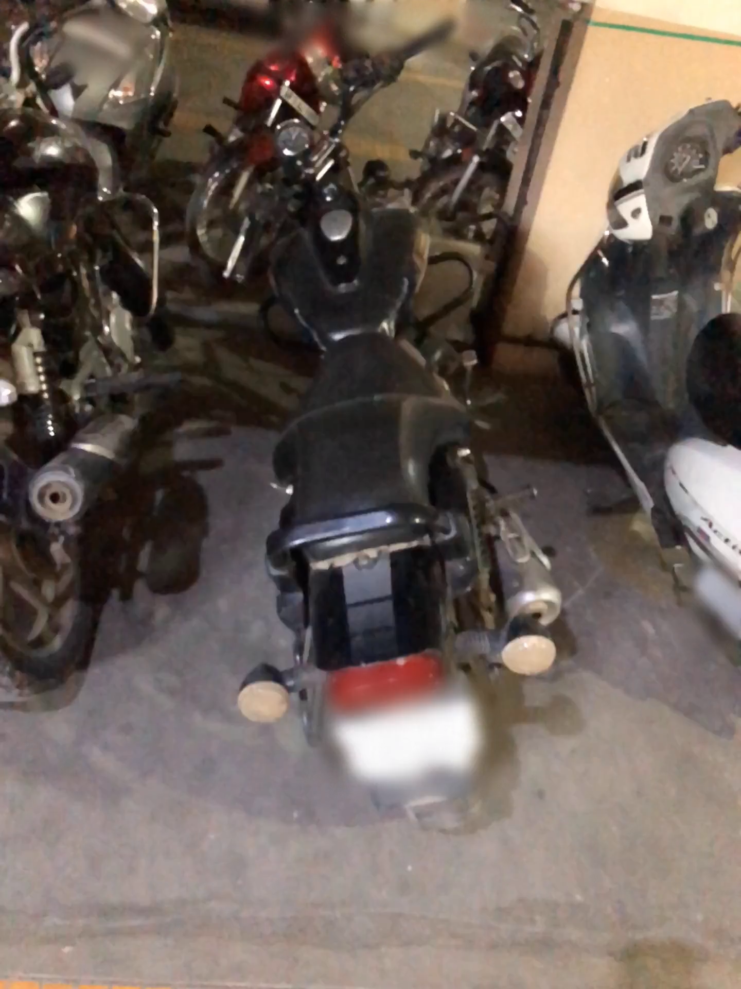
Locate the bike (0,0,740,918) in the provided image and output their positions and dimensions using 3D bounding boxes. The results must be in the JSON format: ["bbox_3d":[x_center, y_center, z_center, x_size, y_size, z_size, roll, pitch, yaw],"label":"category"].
[{"bbox_3d":[-0.154,-0.312,1.716,0.863,1.251,1.677,2,39,-12],"label":"bike"}]
